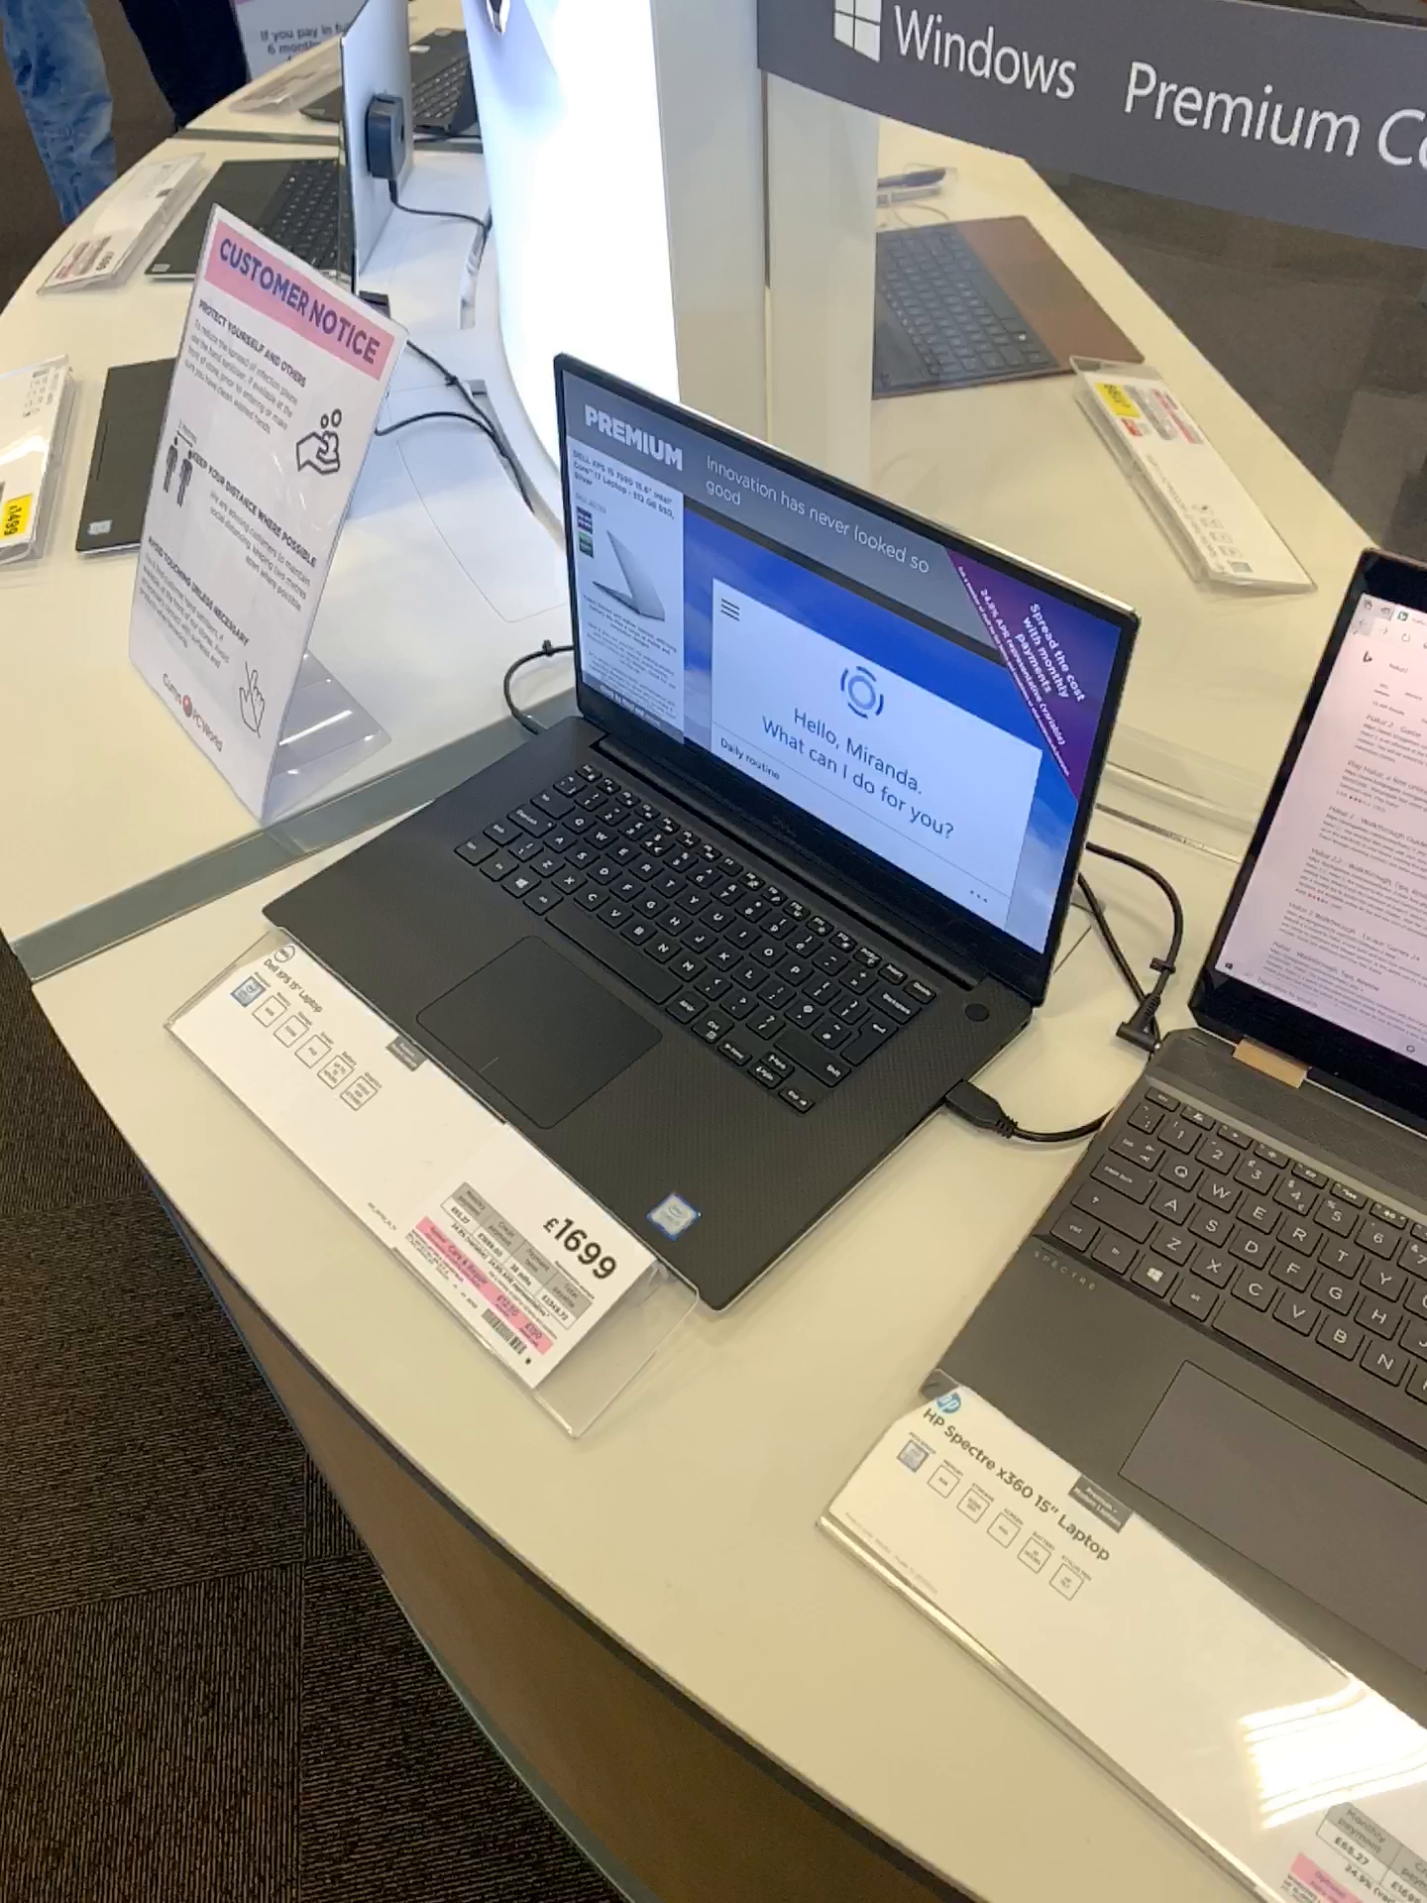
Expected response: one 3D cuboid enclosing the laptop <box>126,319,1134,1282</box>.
[{"bbox_3d":[-0.039,-0.093,0.690,0.352,0.224,0.254,35,58,30],"label":"laptop"}]
